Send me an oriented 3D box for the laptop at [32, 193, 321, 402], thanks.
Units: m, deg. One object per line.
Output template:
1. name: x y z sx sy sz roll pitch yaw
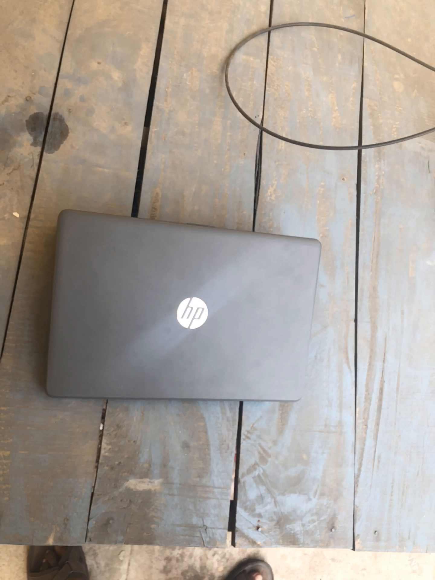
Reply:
1. laptop: -0.047 0.024 0.663 0.361 0.097 0.243 5 75 -16
